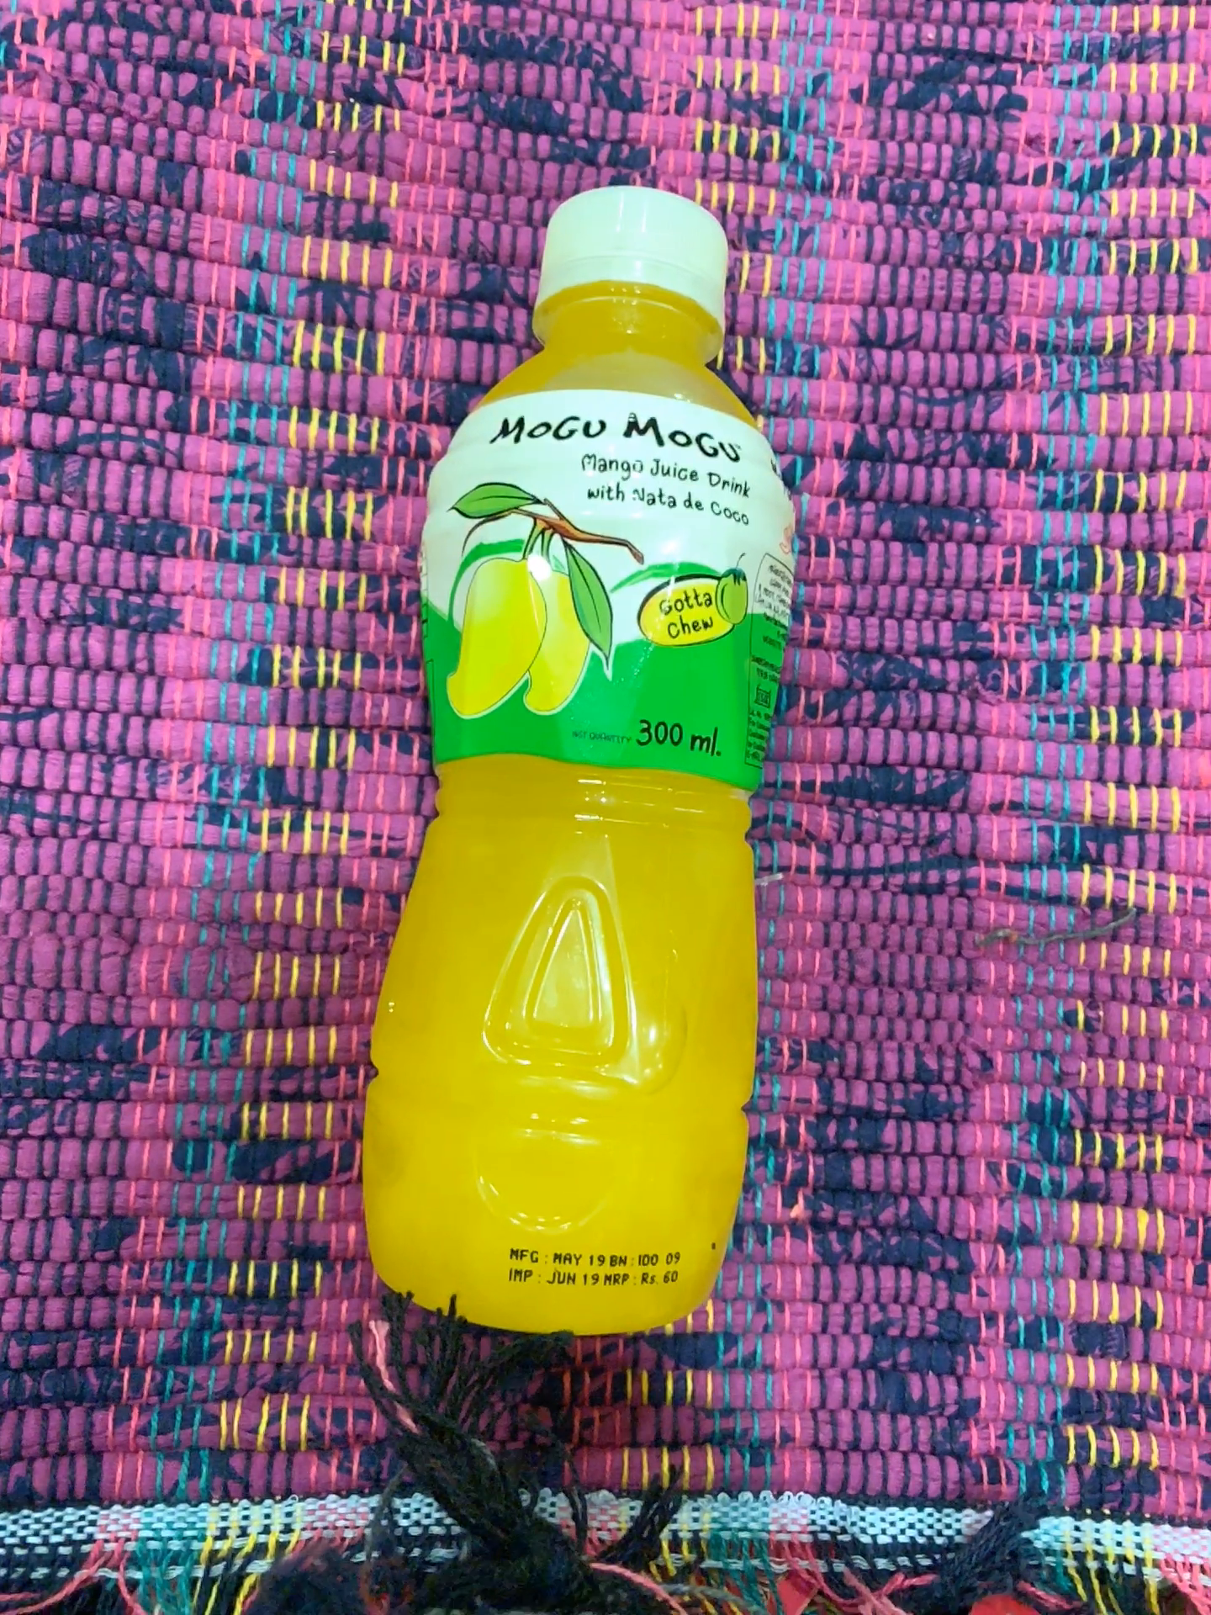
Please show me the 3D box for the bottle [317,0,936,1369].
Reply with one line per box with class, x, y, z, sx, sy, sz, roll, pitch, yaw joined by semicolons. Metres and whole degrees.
bottle;0.000;-0.017;0.174;0.060;0.060;0.160;5;84;-10
